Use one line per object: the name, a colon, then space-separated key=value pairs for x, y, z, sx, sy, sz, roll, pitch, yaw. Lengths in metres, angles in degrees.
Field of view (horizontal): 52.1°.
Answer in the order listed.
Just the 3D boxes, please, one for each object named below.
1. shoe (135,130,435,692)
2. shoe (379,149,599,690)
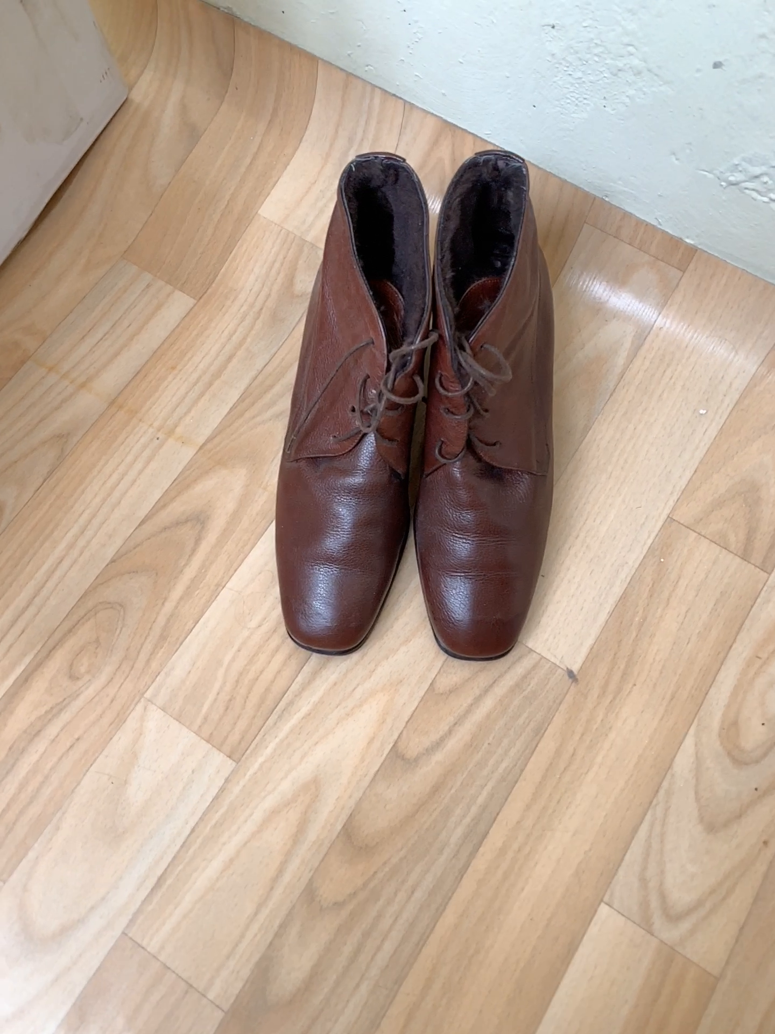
shoe: x=-0.033 y=-0.039 z=0.385 sx=0.080 sy=0.150 sz=0.220 roll=7 pitch=73 yaw=4
shoe: x=0.046 y=-0.036 z=0.393 sx=0.080 sy=0.150 sz=0.220 roll=3 pitch=73 yaw=3
